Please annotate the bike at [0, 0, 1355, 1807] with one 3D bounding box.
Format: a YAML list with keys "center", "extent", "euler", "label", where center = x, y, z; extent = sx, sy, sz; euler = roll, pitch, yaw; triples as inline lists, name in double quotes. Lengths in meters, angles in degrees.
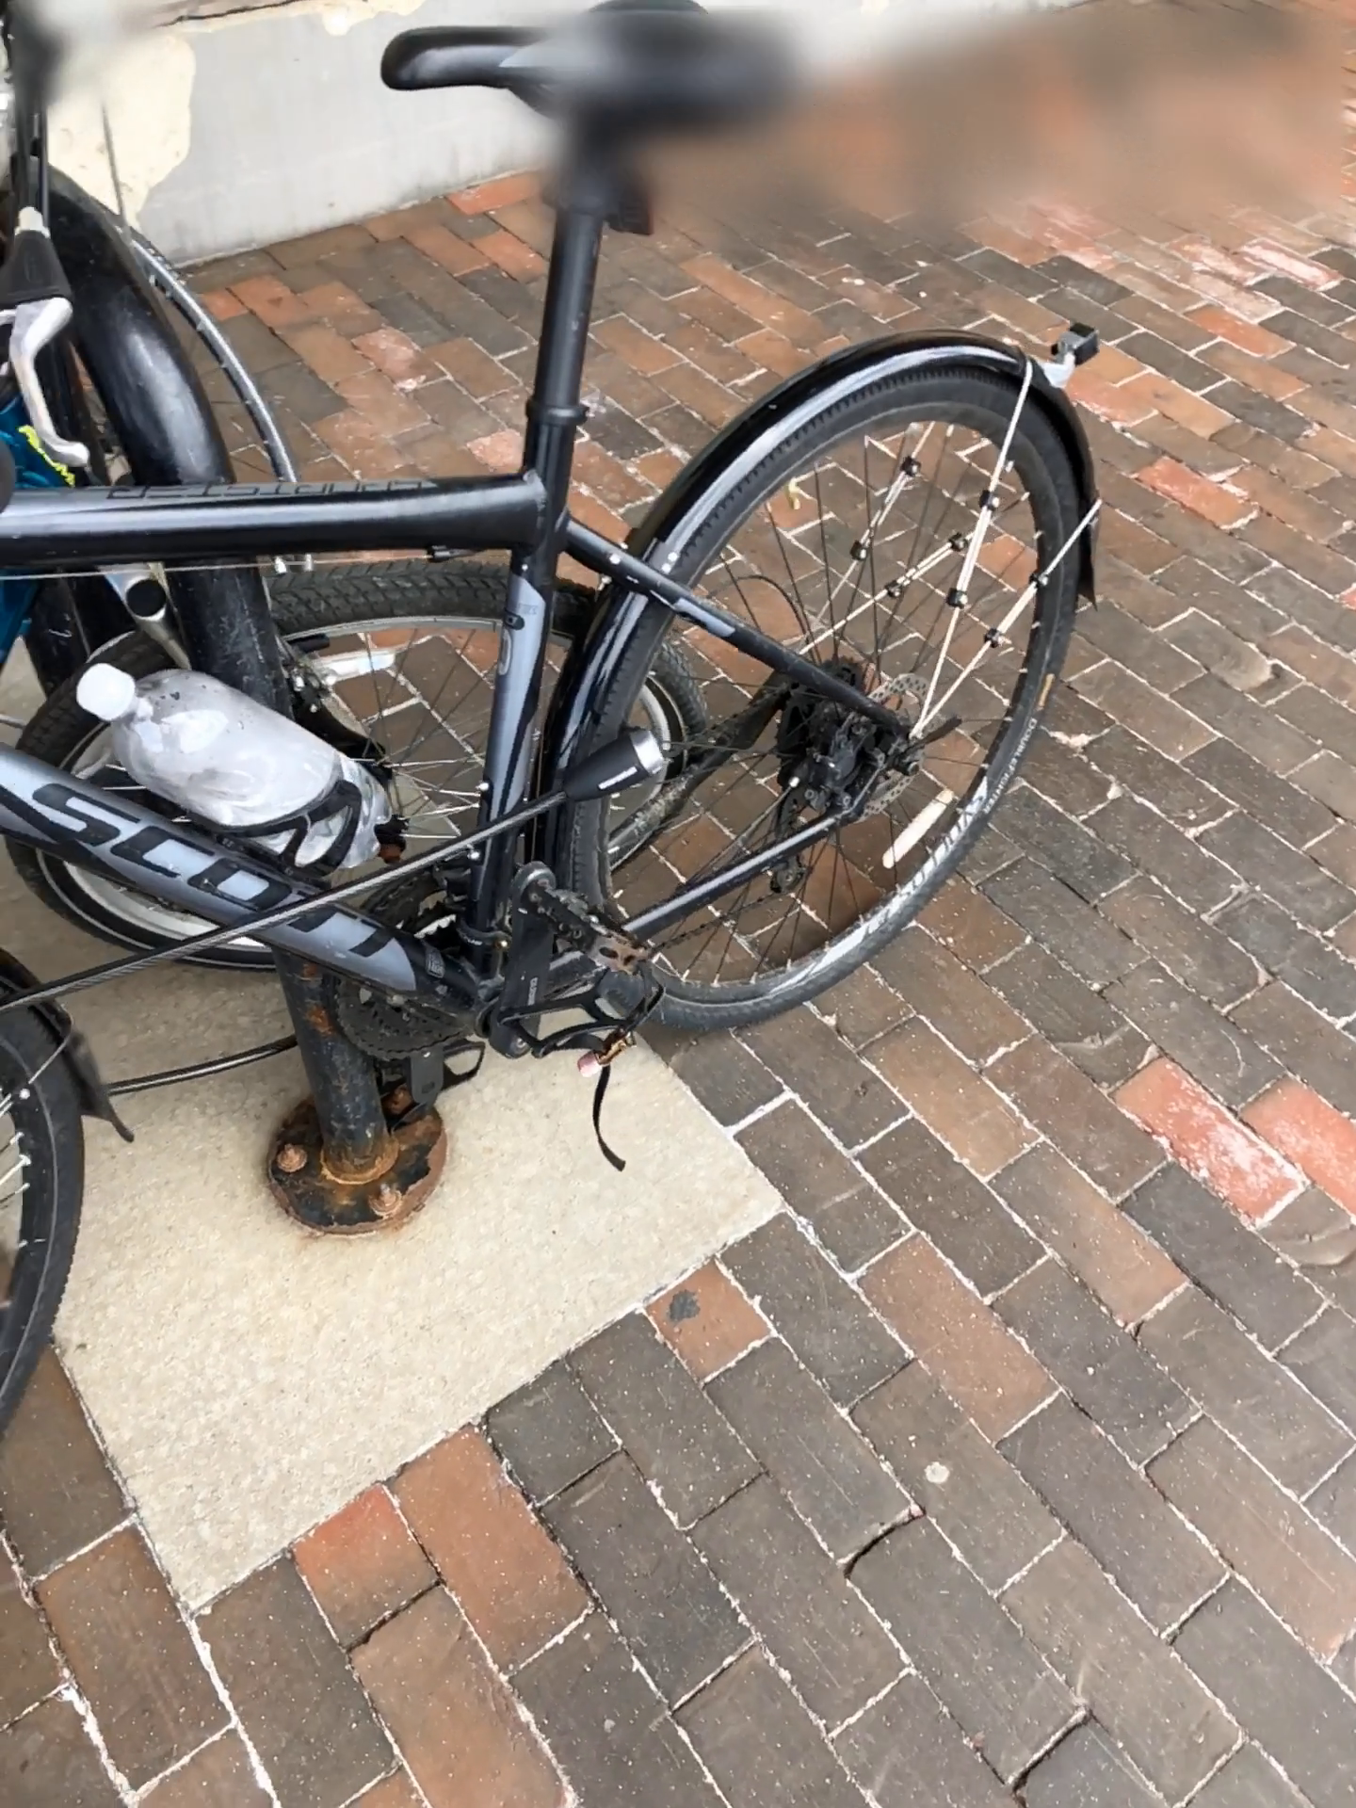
- center: [-0.256, -0.024, 0.971]
  extent: [1.514, 0.940, 0.674]
  euler: [-37, 60, -27]
  label: "bike"
